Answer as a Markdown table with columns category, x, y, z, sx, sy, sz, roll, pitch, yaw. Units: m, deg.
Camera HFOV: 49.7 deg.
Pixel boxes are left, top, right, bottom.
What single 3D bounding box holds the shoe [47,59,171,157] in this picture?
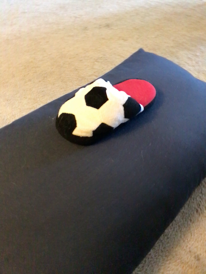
| category | x | y | z | sx | sy | sz | roll | pitch | yaw |
| --- | --- | --- | --- | --- | --- | --- | --- | --- | --- |
| shoe | 0.015 | -0.067 | 0.448 | 0.214 | 0.072 | 0.108 | -29 | 56 | -22 |
